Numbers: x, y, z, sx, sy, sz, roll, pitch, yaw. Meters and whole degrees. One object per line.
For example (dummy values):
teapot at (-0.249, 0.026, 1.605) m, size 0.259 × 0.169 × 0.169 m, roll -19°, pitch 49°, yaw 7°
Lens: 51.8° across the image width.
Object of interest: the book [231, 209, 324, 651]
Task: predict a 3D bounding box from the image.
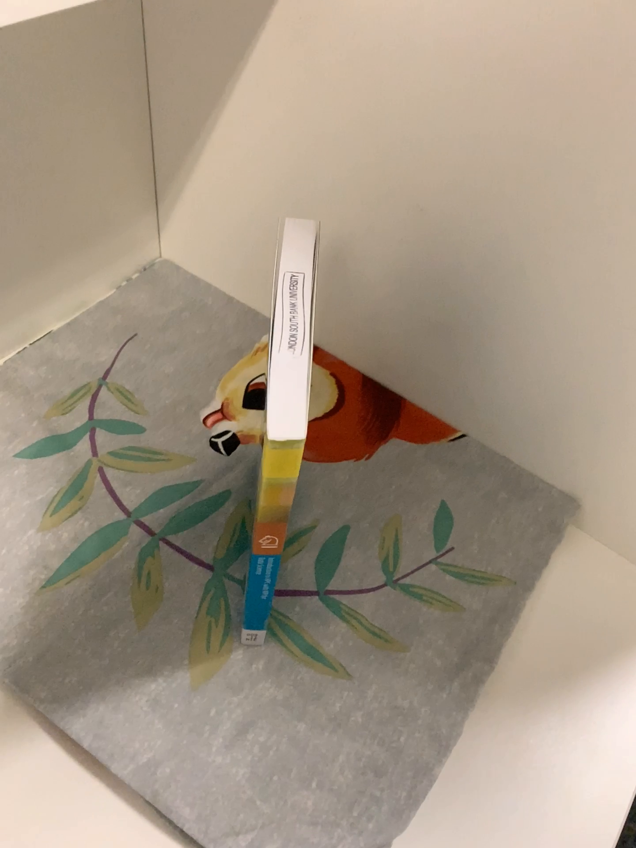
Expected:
book at (-0.028, 0.016, 0.411) m, size 0.030 × 0.228 × 0.172 m, roll 5°, pitch 51°, yaw -6°

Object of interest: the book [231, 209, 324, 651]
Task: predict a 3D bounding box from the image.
book at (-0.028, 0.016, 0.411) m, size 0.030 × 0.228 × 0.172 m, roll 5°, pitch 51°, yaw -6°
